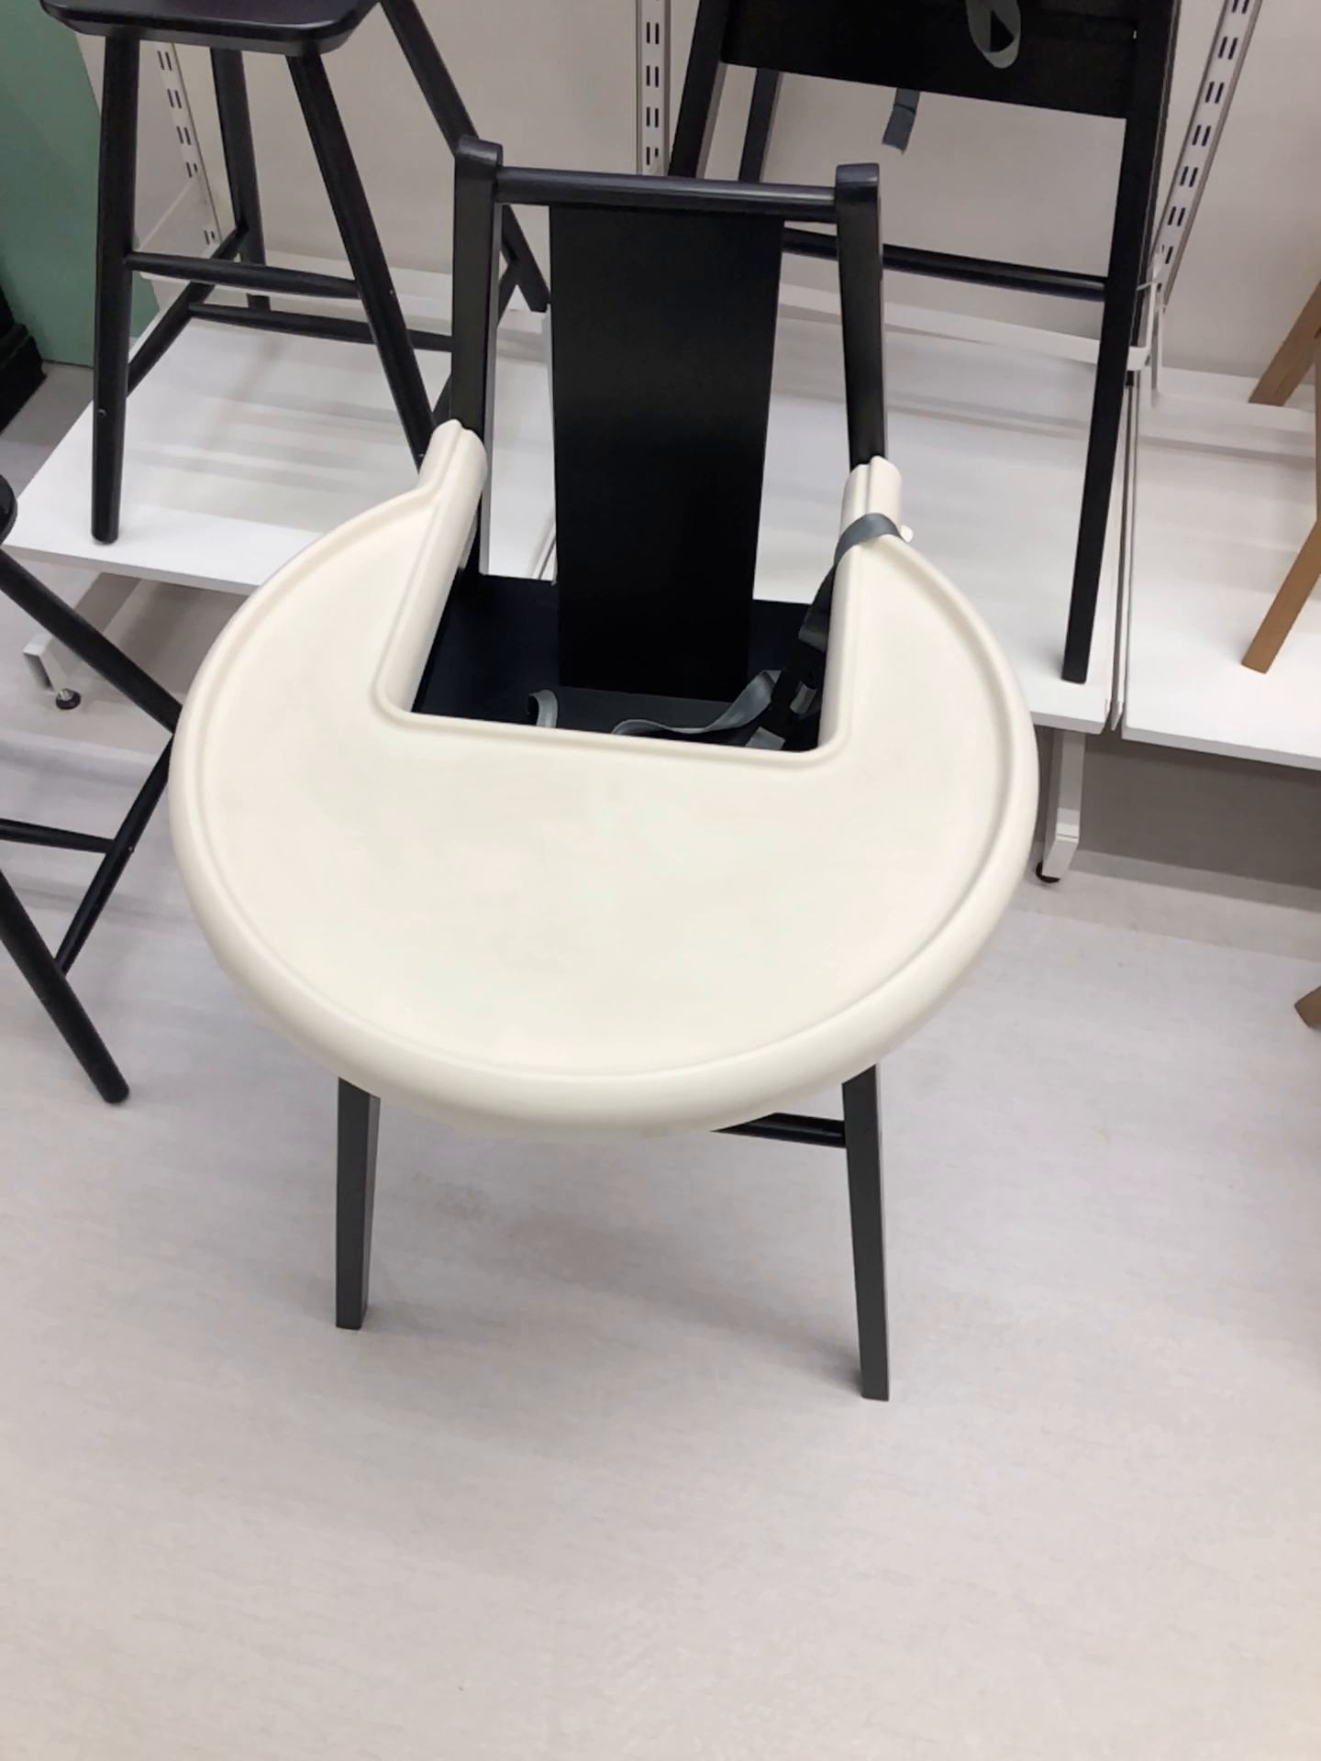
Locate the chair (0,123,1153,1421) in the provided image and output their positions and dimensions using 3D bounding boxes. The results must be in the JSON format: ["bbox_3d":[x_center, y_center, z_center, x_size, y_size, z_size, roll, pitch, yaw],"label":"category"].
[{"bbox_3d":[-0.025,-0.028,1.100,0.550,0.776,0.553,7,54,5],"label":"chair"}]
